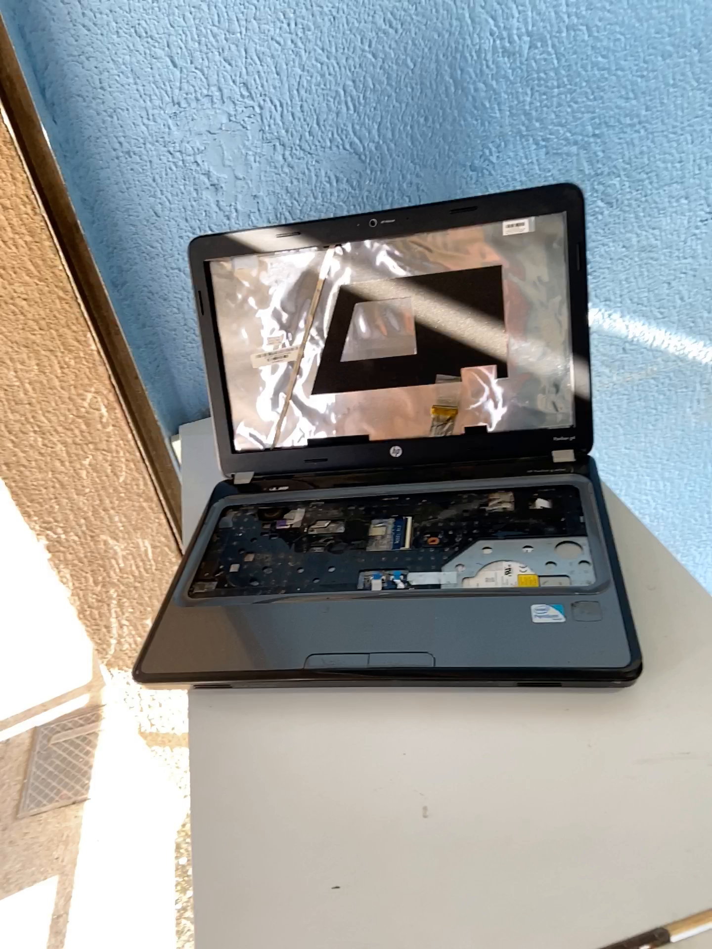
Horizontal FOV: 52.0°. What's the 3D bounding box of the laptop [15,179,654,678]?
[{"bbox_3d":[0.012,-0.048,0.549,0.335,0.194,0.325,-4,36,13],"label":"laptop"}]
